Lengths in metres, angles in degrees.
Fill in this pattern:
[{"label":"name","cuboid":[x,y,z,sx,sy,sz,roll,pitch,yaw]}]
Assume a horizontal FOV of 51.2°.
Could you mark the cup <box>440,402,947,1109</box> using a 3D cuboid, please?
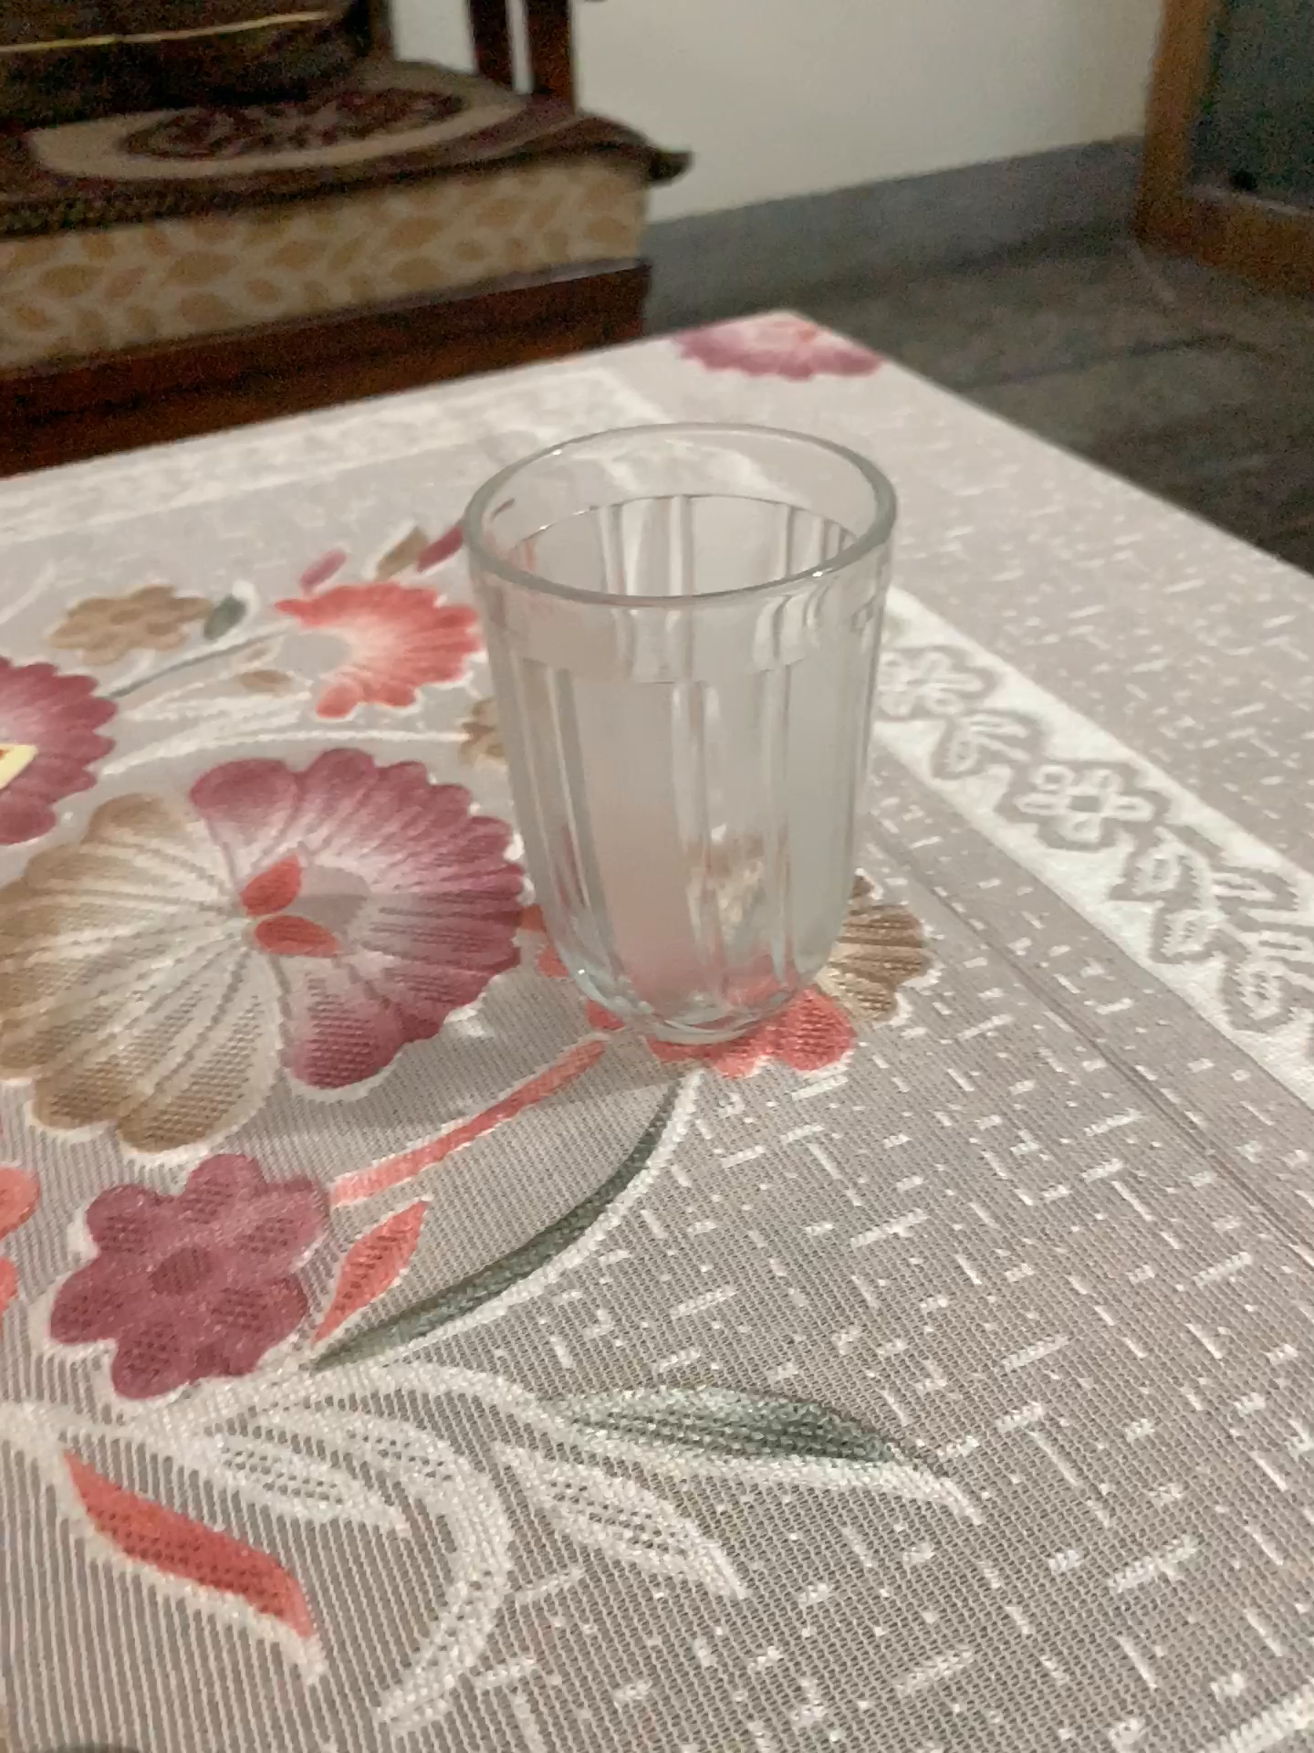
[{"label":"cup","cuboid":[0.005,-0.021,0.247,0.070,0.100,0.070,-2,39,2]}]
